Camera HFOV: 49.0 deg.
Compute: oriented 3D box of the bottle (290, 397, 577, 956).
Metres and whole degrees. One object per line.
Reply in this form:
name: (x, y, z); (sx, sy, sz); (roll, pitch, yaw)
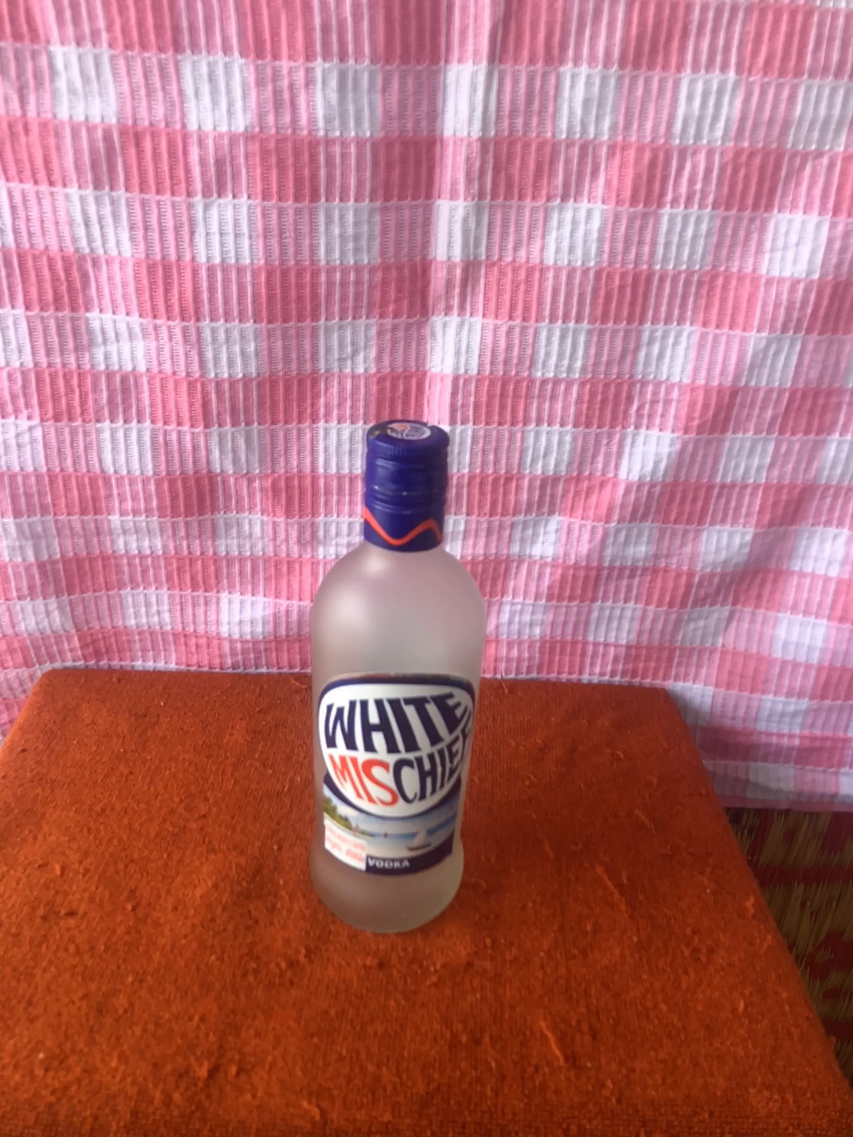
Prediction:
bottle: (-0.005, 0.046, 0.348); (0.080, 0.199, 0.070); (4, 29, -3)
